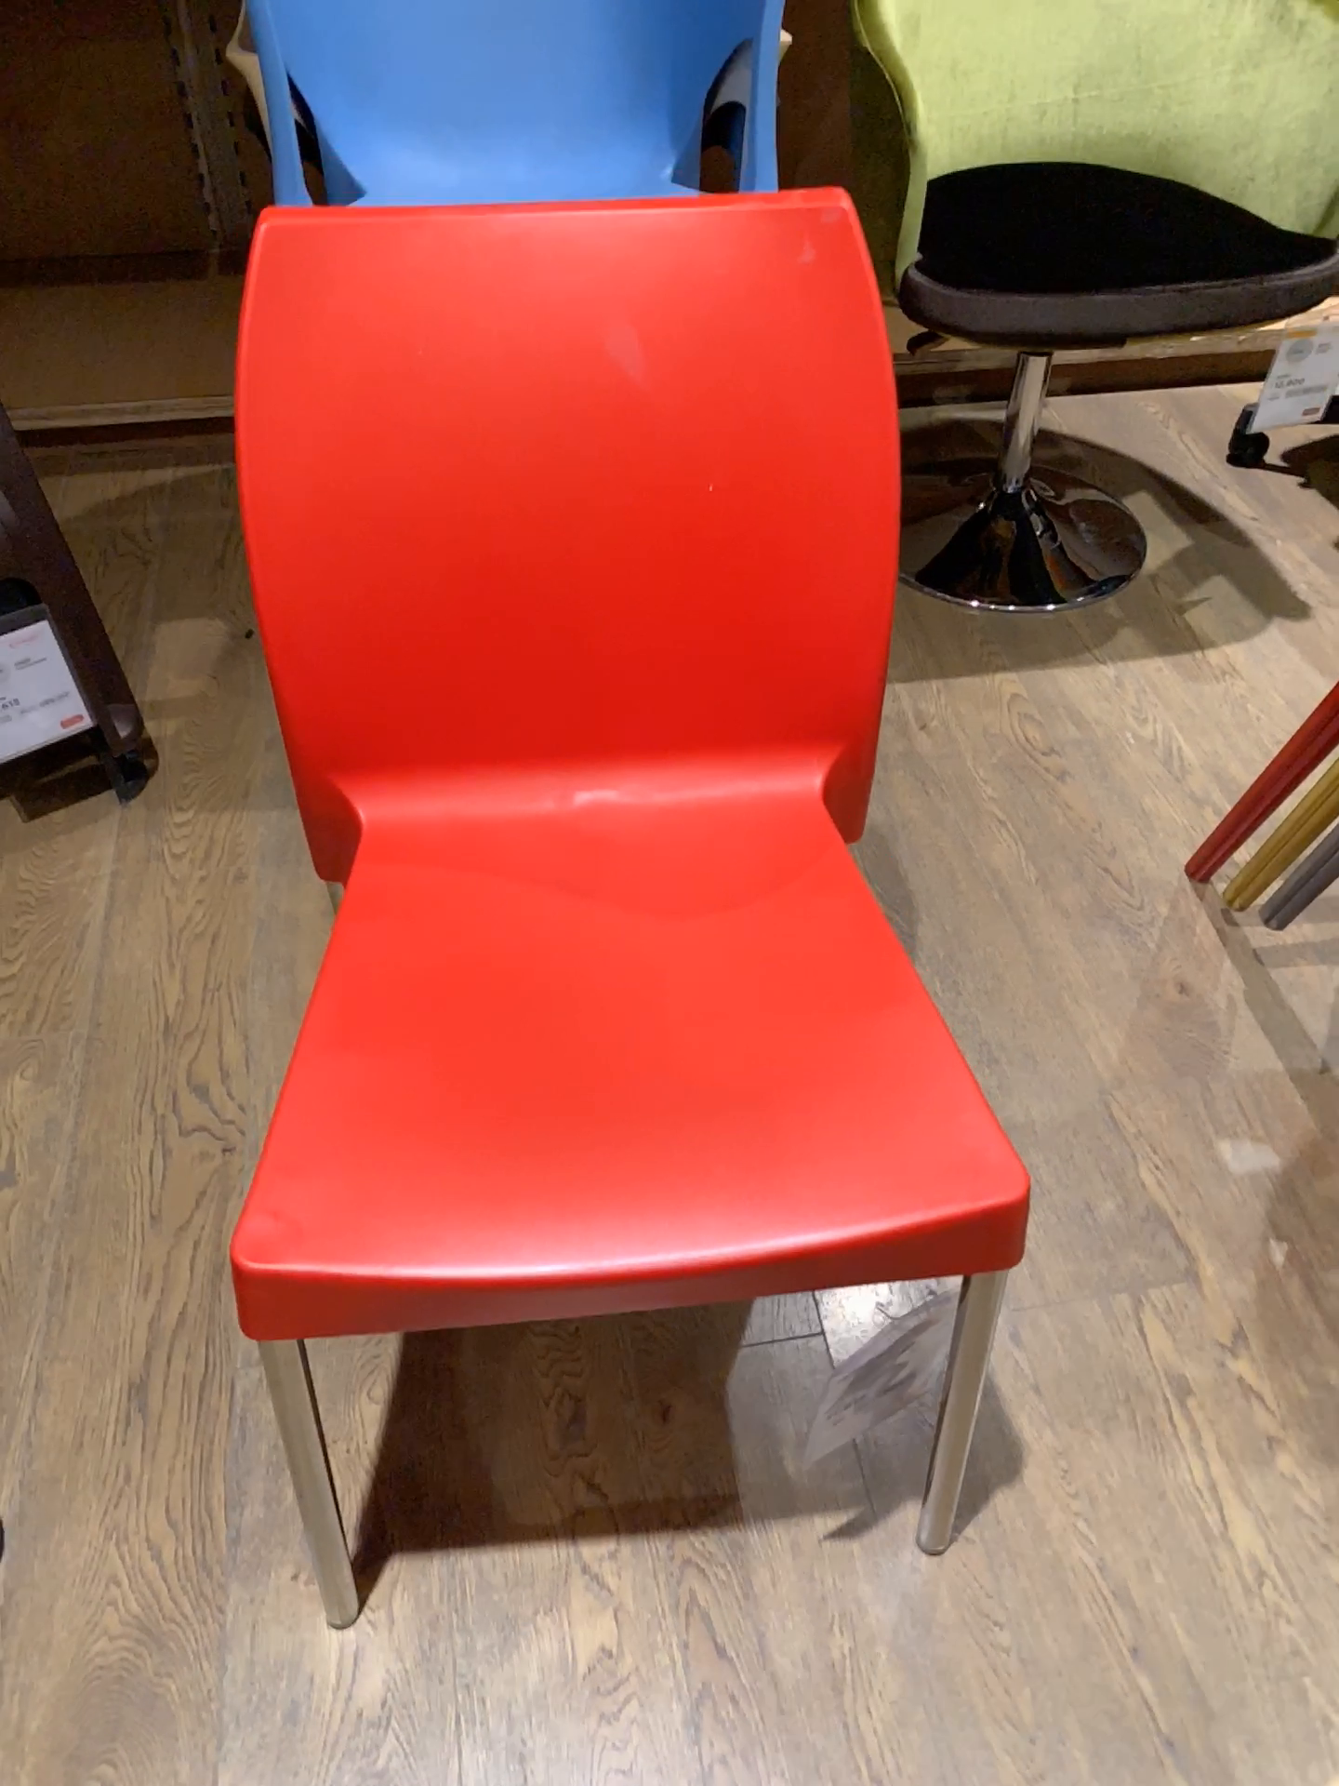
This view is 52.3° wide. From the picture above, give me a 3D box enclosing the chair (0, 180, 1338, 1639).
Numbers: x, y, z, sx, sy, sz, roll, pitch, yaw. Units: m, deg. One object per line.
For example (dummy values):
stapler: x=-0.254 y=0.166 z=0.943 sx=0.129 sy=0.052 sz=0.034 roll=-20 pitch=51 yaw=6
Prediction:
chair: x=-0.027 y=0.032 z=0.952 sx=0.530 sy=0.777 sz=0.623 roll=-3 pitch=45 yaw=-4
